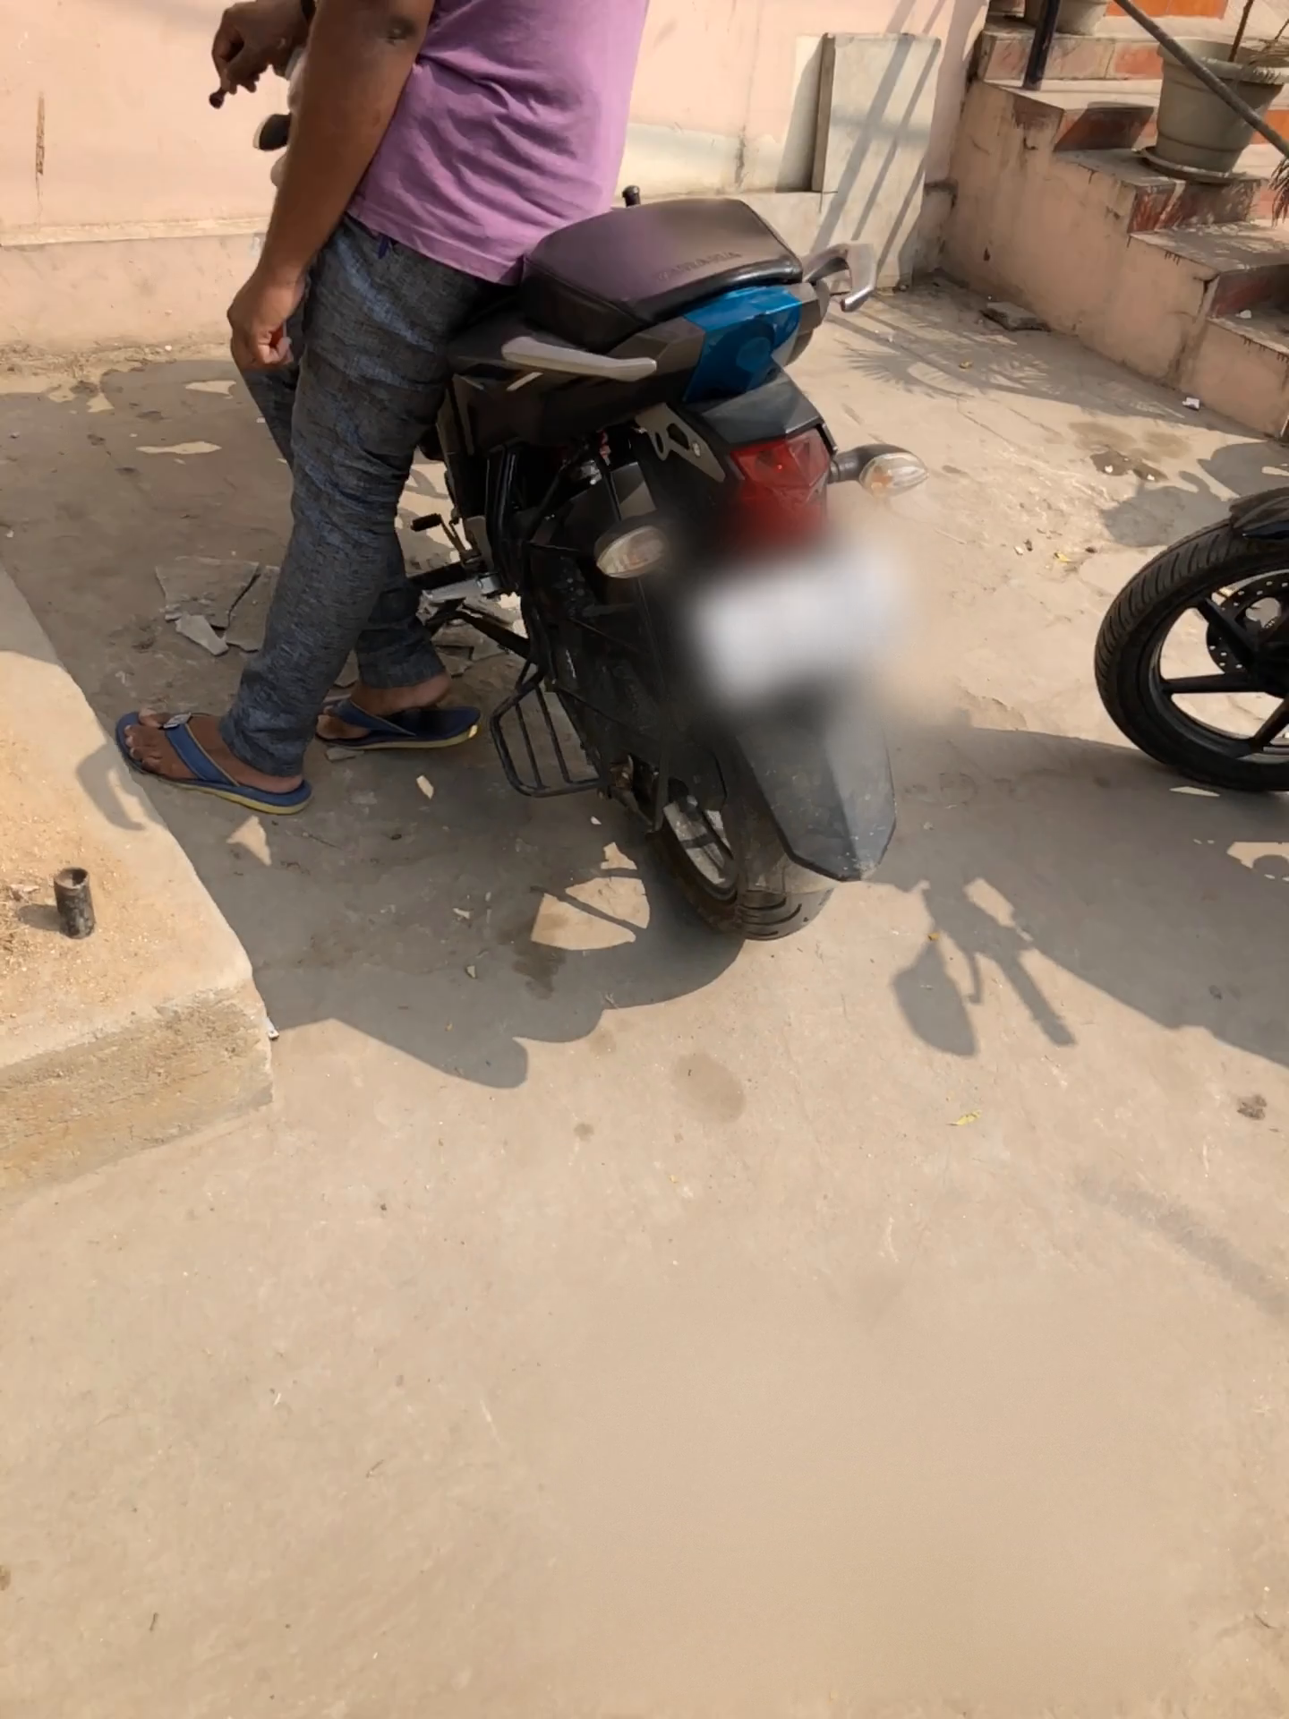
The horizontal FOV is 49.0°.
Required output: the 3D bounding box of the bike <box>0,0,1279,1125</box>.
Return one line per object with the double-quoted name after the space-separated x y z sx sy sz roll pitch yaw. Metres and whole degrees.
-0.381 -0.885 1.835 0.812 1.221 1.830 -15 49 -27 "bike"
